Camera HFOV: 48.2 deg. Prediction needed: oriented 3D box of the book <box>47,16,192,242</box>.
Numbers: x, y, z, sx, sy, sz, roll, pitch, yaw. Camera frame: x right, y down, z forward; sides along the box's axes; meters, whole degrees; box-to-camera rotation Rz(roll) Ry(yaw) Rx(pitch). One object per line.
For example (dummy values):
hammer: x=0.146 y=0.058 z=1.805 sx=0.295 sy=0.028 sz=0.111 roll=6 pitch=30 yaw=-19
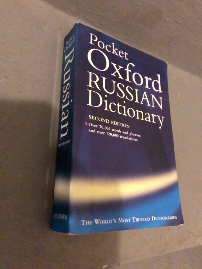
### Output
book: x=0.025 y=-0.004 z=0.232 sx=0.138 sy=0.032 sz=0.195 roll=11 pitch=70 yaw=-31
